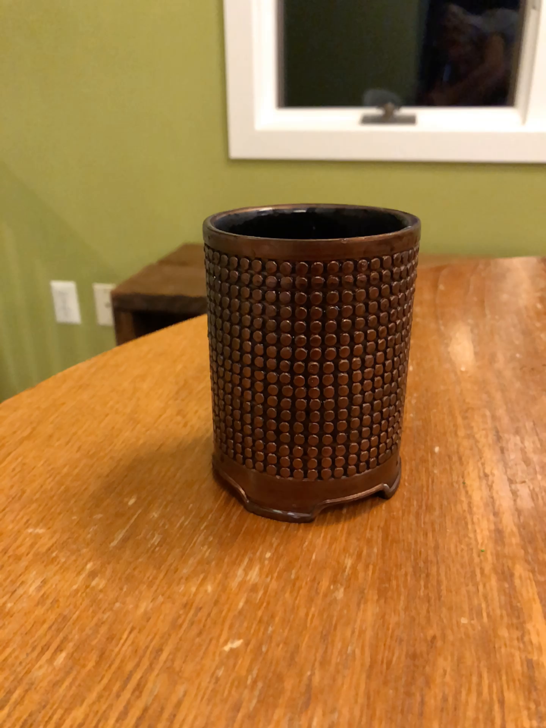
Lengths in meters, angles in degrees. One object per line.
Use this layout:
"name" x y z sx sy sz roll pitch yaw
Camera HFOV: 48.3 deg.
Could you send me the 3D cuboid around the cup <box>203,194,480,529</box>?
"cup" 0.017 -0.006 0.223 0.077 0.097 0.073 -1 22 0
